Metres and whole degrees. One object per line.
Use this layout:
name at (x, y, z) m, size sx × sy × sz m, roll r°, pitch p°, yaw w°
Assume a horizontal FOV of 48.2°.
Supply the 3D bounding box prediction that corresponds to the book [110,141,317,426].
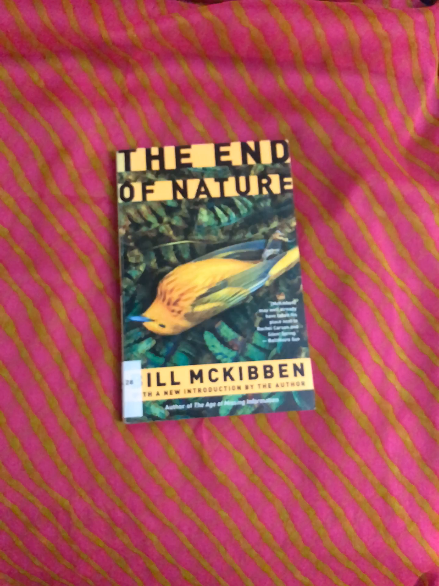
book at (-0.007, -0.011, 0.350) m, size 0.131 × 0.020 × 0.194 m, roll -3°, pitch 81°, yaw -6°
